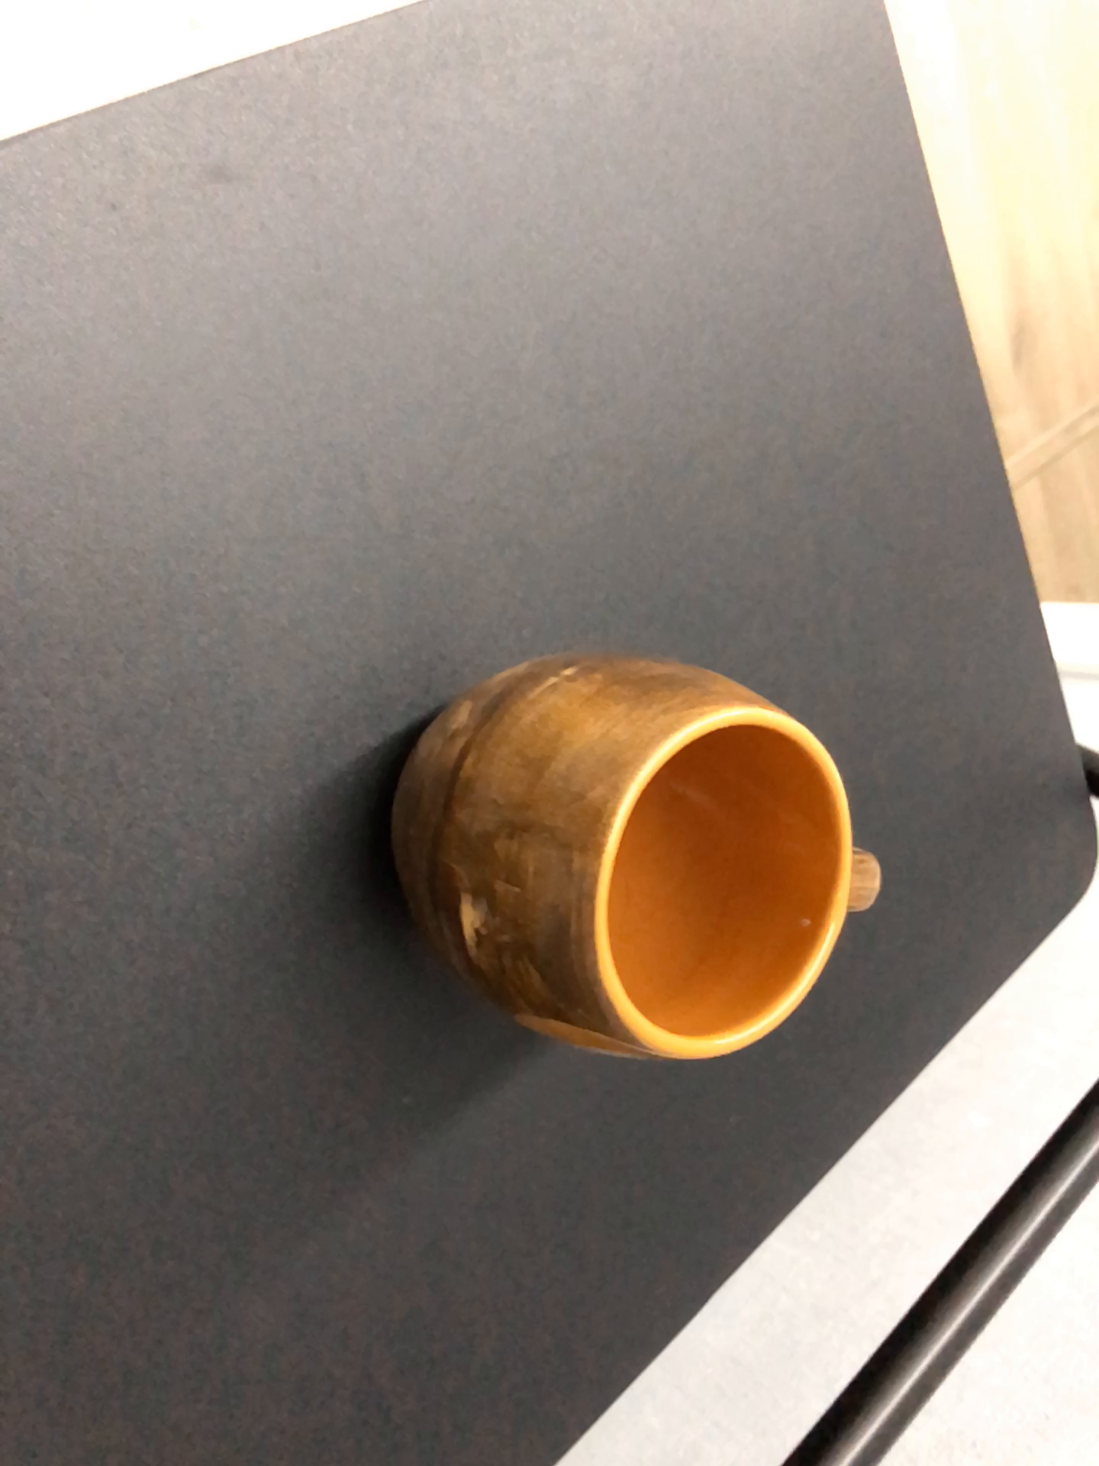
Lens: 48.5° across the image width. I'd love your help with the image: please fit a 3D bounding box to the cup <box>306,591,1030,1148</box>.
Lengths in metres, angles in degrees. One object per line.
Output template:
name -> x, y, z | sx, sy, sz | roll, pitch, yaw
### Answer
cup -> 0.031, 0.033, 0.304 | 0.132, 0.092, 0.092 | 22, 84, -35
